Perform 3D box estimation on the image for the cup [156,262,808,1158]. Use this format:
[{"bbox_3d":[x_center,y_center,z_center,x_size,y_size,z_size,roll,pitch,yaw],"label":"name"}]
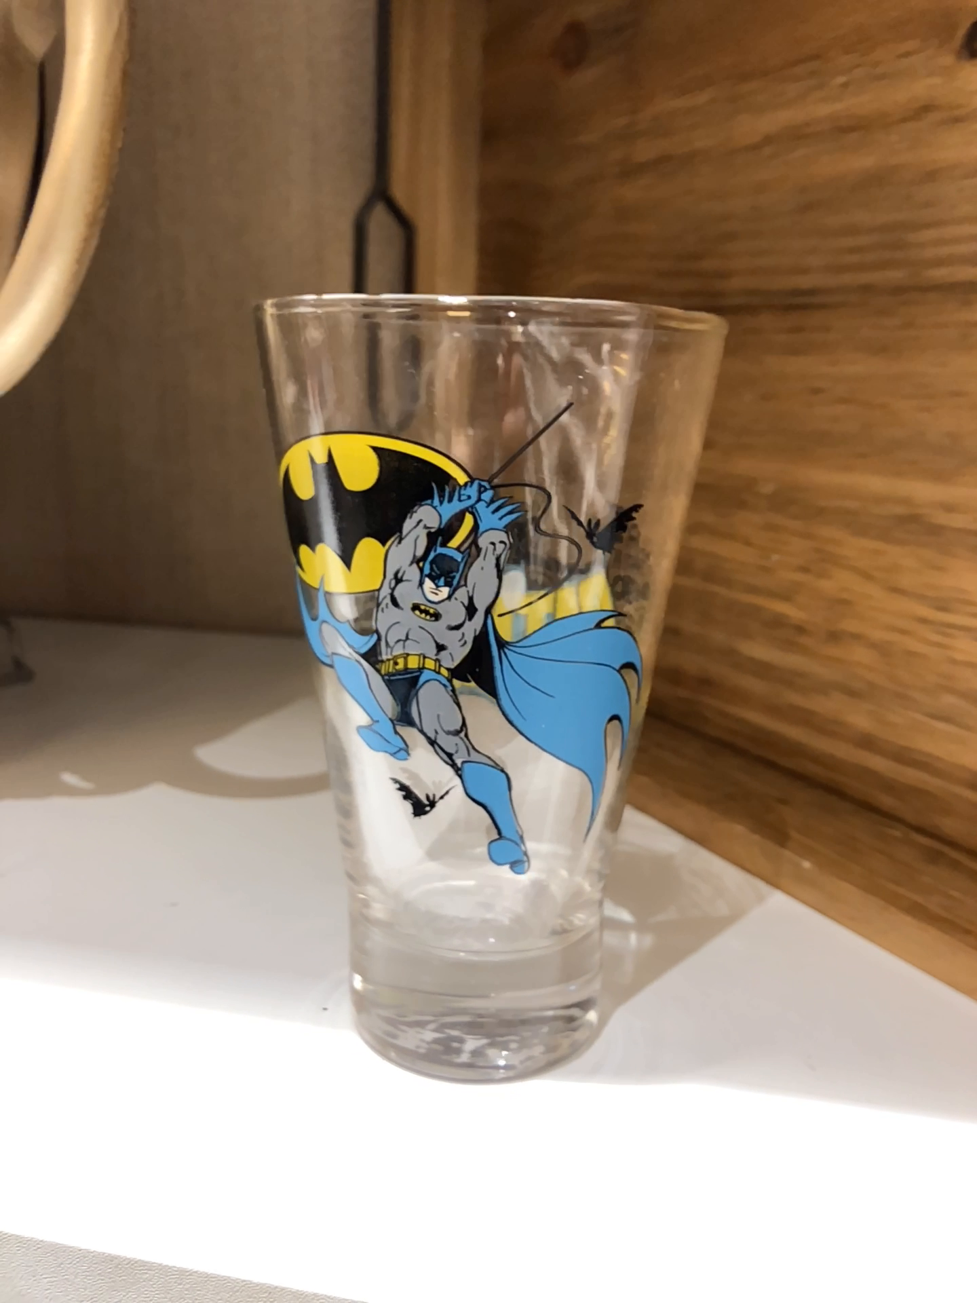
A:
[{"bbox_3d":[0.004,0.000,0.205,0.090,0.129,0.080,6,14,20],"label":"cup"}]
